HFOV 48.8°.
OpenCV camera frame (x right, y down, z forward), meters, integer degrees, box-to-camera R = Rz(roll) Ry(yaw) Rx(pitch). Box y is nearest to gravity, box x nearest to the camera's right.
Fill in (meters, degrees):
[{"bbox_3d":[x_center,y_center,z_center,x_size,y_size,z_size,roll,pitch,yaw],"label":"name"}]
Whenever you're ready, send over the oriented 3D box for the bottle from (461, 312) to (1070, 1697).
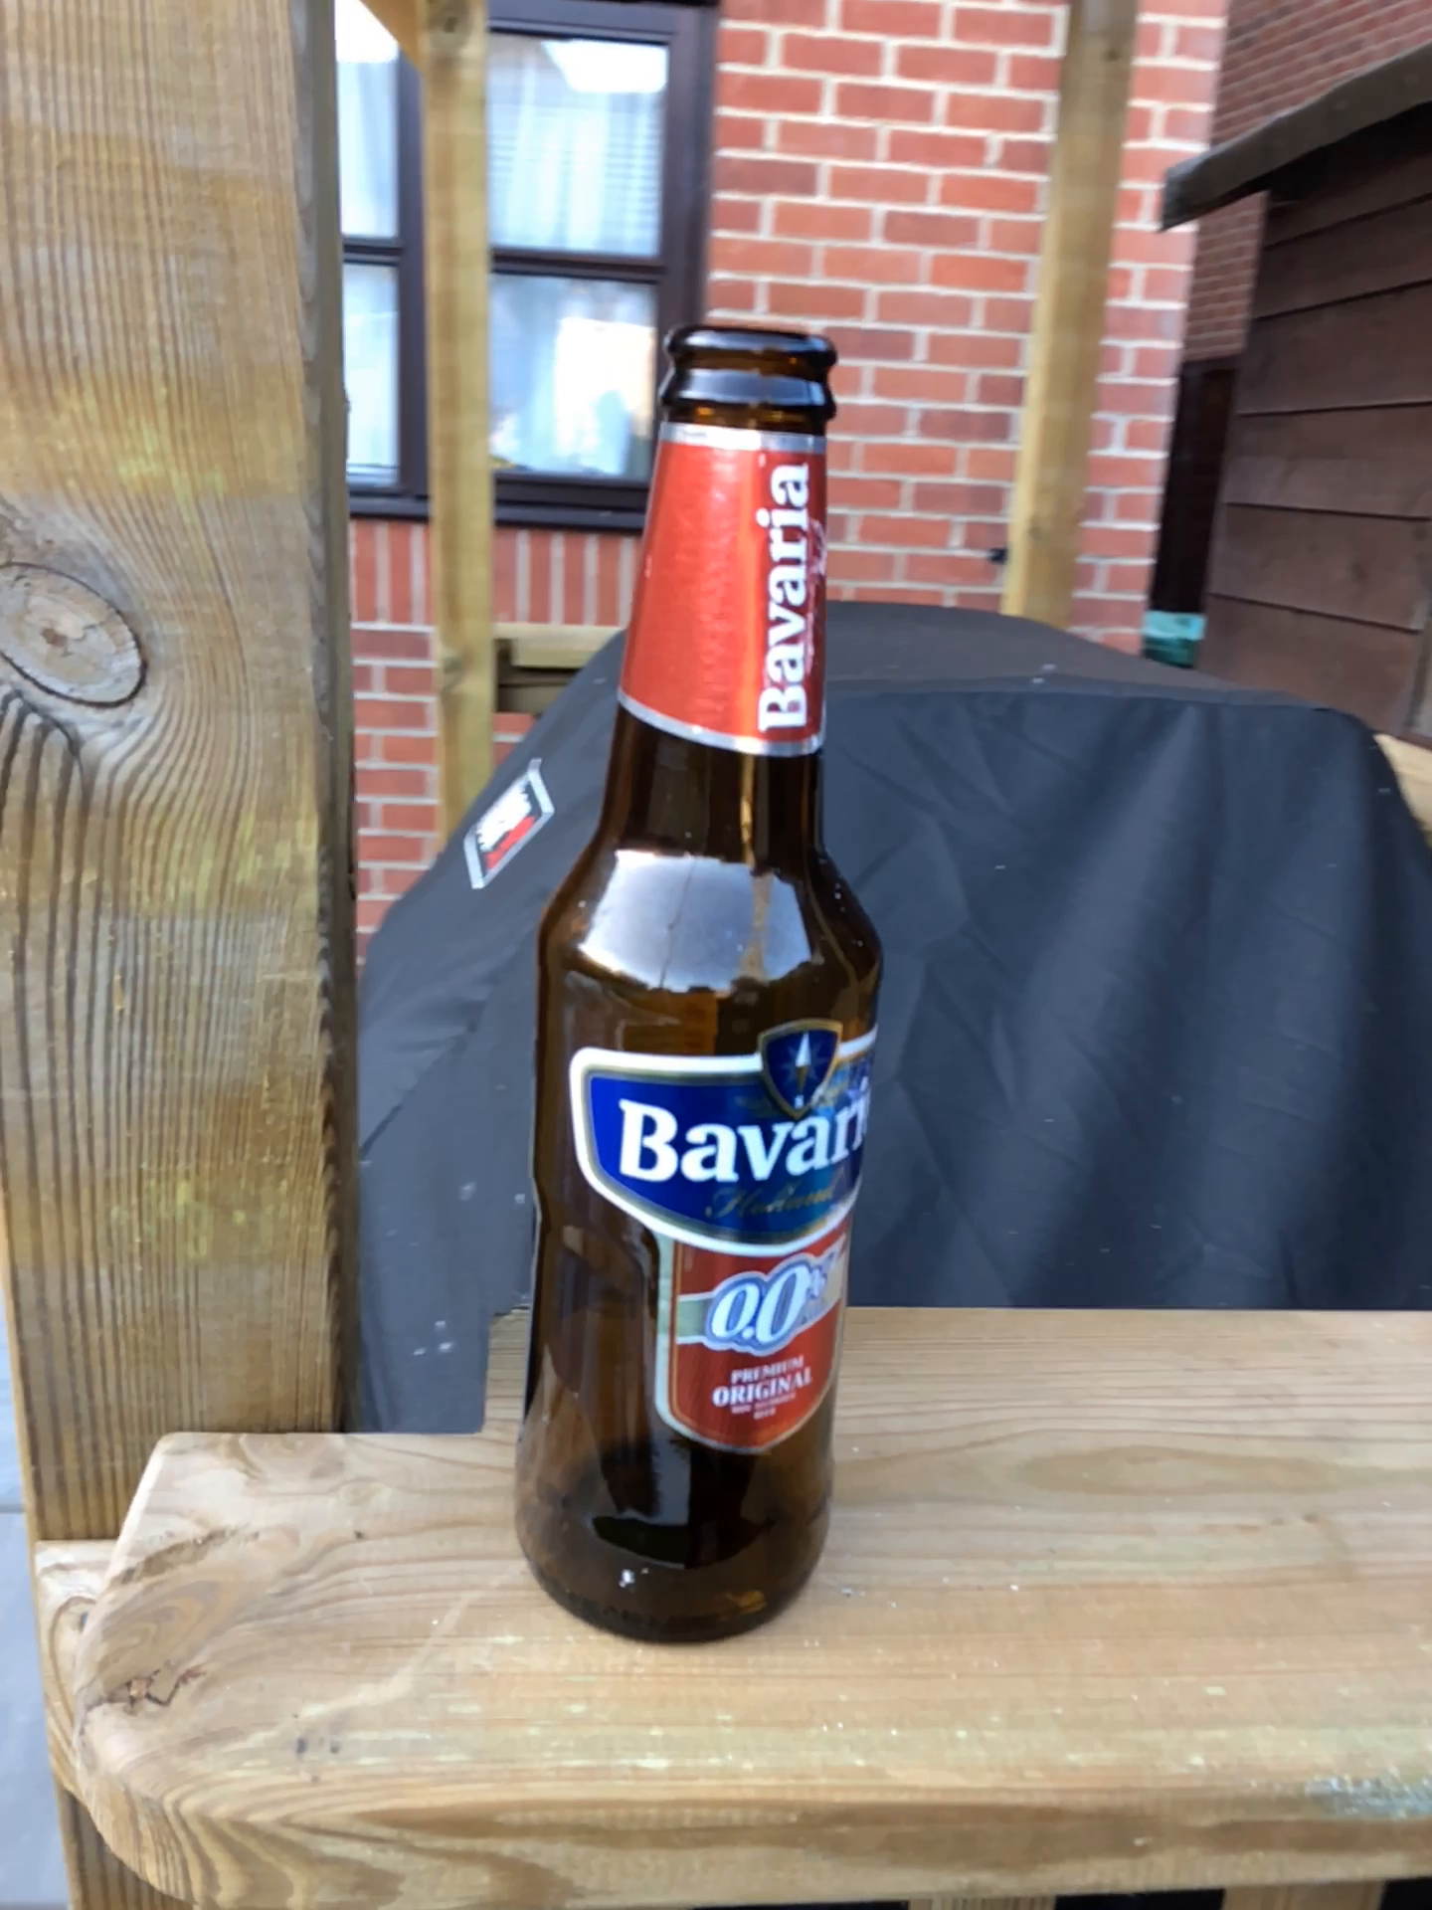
[{"bbox_3d":[0.001,0.008,0.268,0.070,0.209,0.060,-5,18,-28],"label":"bottle"}]
